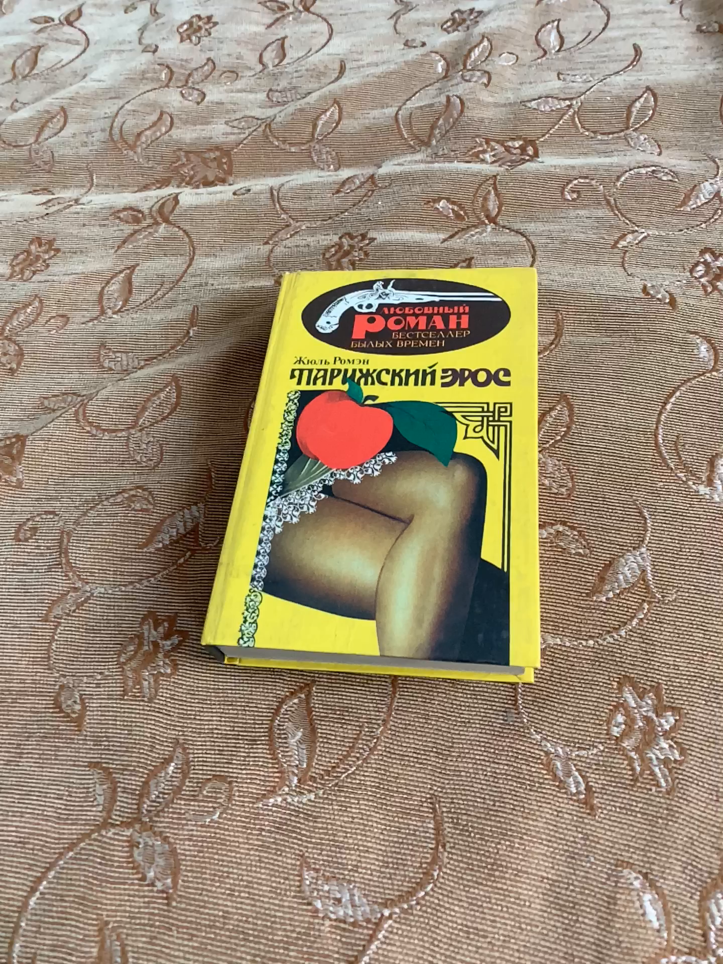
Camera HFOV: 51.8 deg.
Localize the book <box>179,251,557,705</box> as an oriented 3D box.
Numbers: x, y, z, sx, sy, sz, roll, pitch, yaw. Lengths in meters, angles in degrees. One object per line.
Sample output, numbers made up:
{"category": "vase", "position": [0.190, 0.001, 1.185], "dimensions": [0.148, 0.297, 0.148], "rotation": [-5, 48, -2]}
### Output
{"category": "book", "position": [0.012, -0.014, 0.319], "dimensions": [0.130, 0.040, 0.197], "rotation": [2, 60, 9]}
